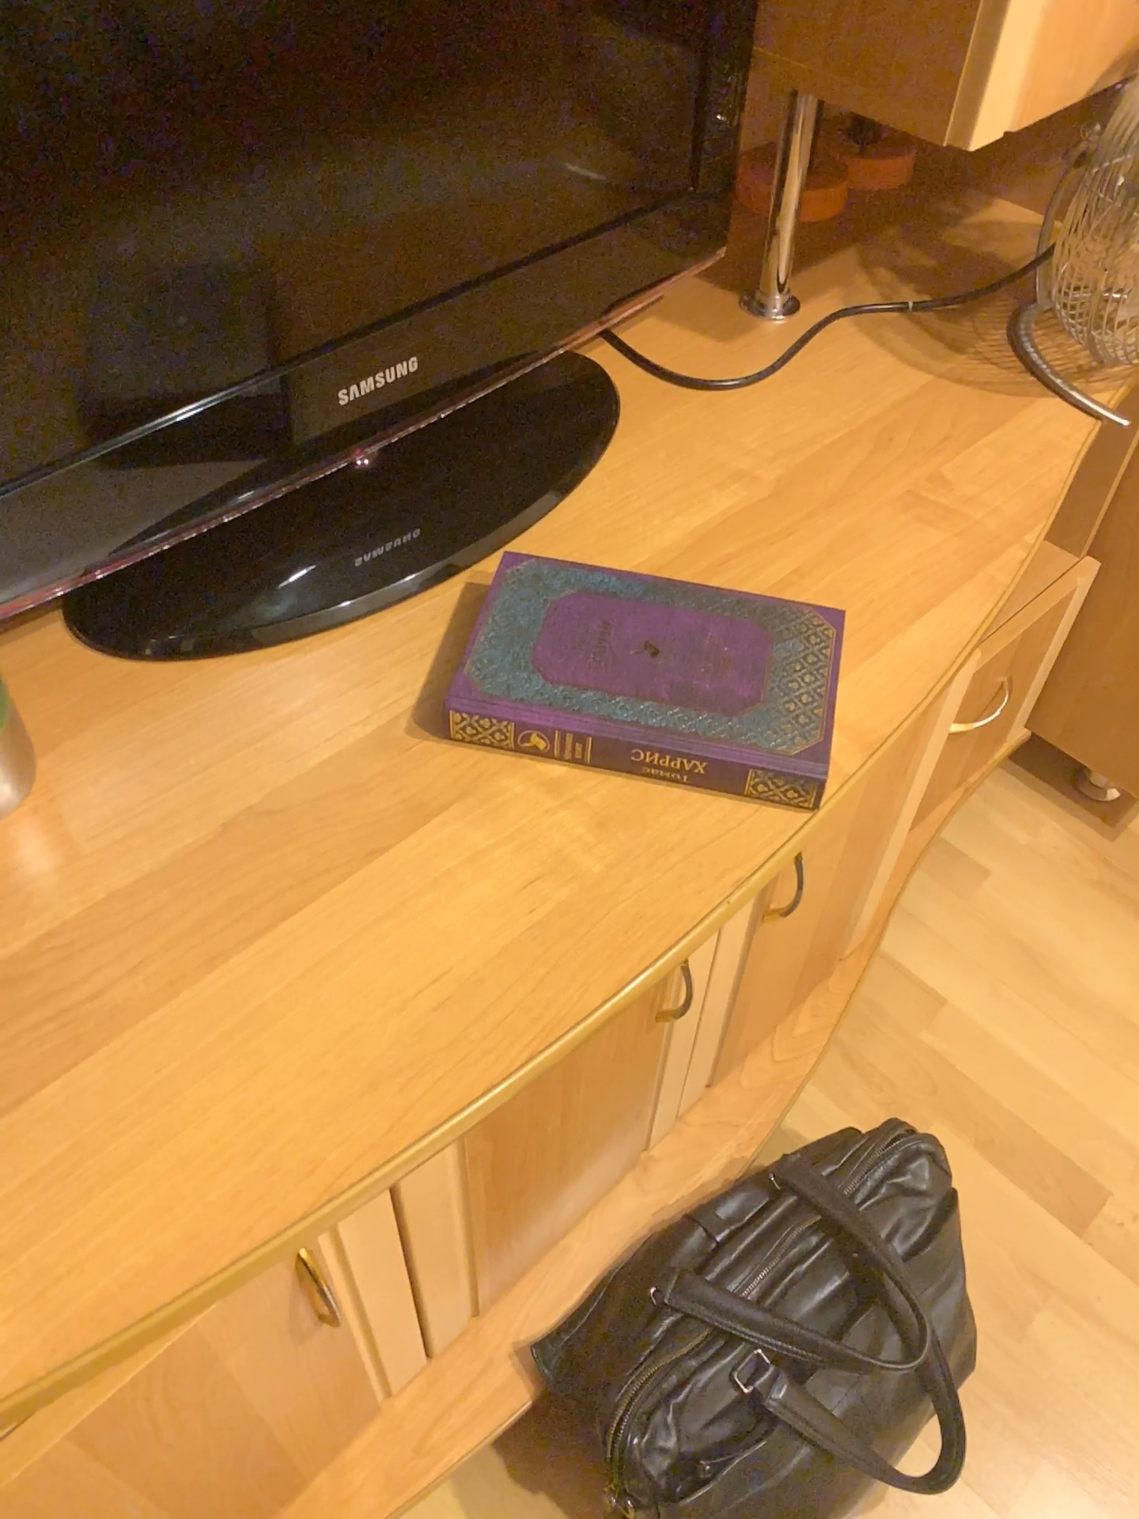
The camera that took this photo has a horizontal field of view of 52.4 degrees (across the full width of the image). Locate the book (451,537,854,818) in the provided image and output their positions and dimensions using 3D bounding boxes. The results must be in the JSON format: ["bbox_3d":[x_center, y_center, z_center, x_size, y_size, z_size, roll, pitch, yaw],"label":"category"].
[{"bbox_3d":[0.049,-0.050,0.643,0.200,0.040,0.131,11,49,6],"label":"book"}]
